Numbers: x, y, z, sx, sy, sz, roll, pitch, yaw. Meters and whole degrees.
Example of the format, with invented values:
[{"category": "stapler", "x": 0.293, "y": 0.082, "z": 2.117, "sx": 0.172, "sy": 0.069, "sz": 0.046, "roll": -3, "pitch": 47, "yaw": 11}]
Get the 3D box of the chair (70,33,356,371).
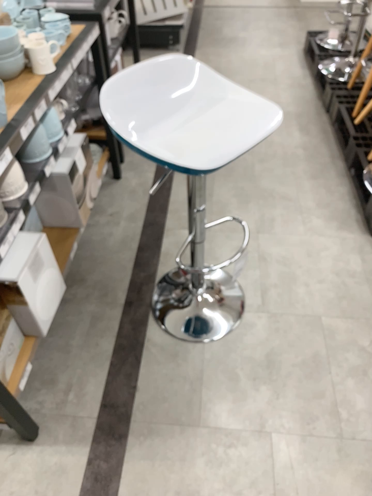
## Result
[{"category": "chair", "x": 0.077, "y": -0.125, "z": 1.199, "sx": 0.471, "sy": 0.776, "sz": 0.505, "roll": 32, "pitch": 55, "yaw": 28}]
